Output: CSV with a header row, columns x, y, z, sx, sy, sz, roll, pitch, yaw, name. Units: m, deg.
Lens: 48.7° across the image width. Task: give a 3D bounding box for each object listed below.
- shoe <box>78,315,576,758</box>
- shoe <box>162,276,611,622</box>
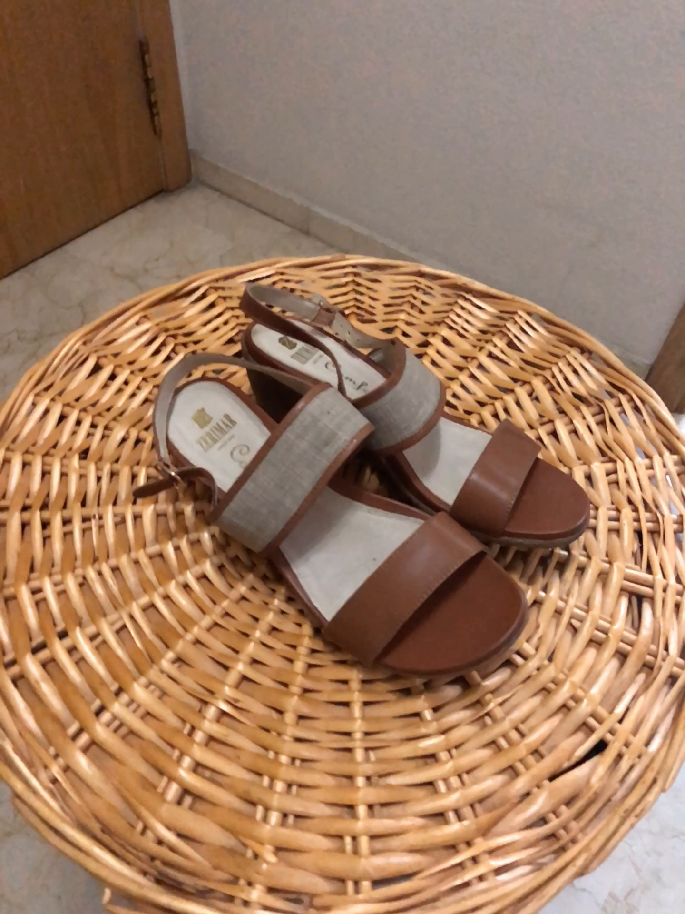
x,y,z,sx,sy,sz,roll,pitch,yaw,name
-0.017,0.034,0.434,0.270,0.070,0.100,35,71,24,shoe
0.020,-0.013,0.503,0.270,0.090,0.090,27,53,18,shoe
